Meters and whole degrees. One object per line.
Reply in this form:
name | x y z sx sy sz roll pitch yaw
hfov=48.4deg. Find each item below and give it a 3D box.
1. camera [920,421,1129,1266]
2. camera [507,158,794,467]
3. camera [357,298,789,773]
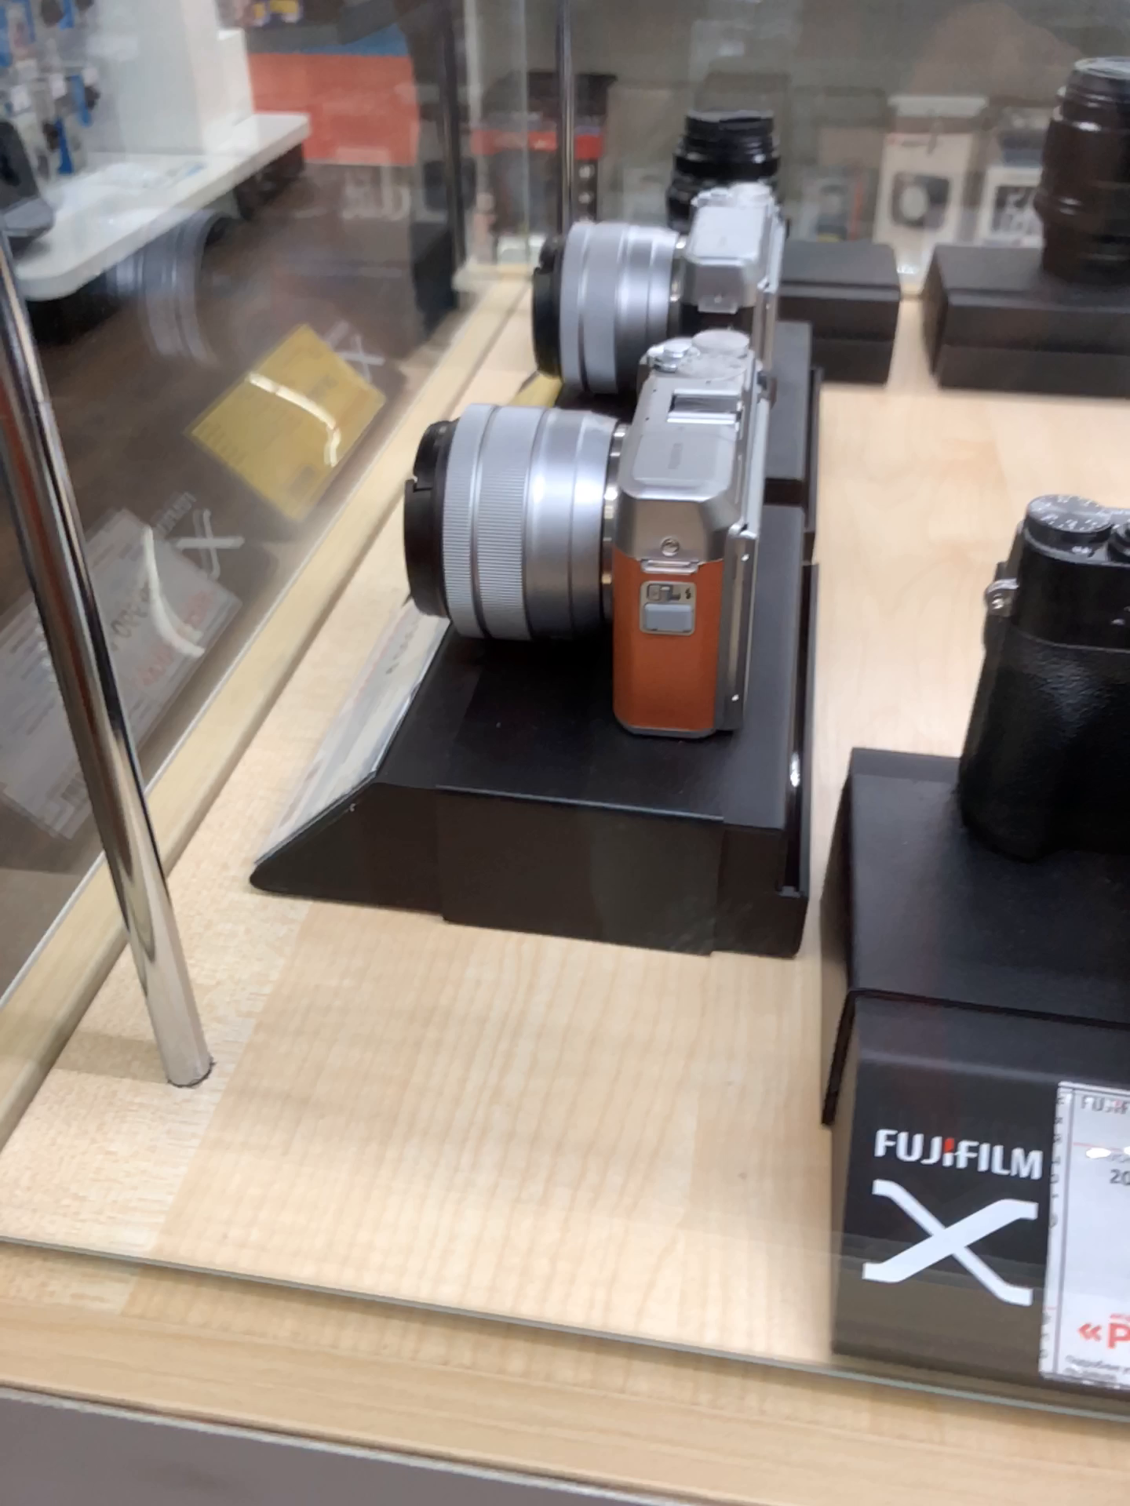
camera | 0.144 0.008 0.231 0.131 0.090 0.113 6 37 7
camera | 0.036 -0.172 0.477 0.093 0.075 0.122 5 36 7
camera | 0.009 -0.065 0.340 0.093 0.075 0.122 5 36 7
